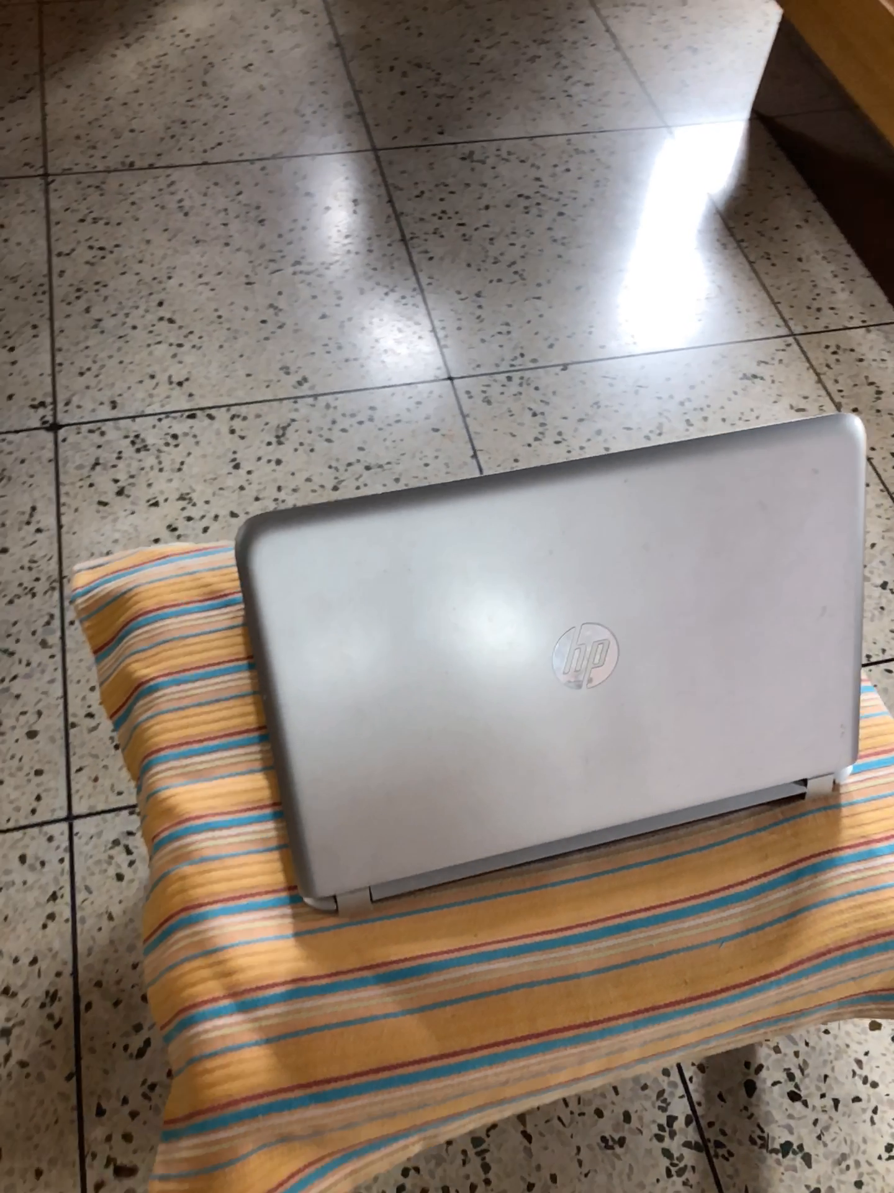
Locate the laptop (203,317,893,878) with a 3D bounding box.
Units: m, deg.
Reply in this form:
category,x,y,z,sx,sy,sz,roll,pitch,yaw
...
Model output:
category,x,y,z,sx,sy,sz,roll,pitch,yaw
laptop,0.058,-0.005,0.638,0.372,0.184,0.237,-11,58,-11
